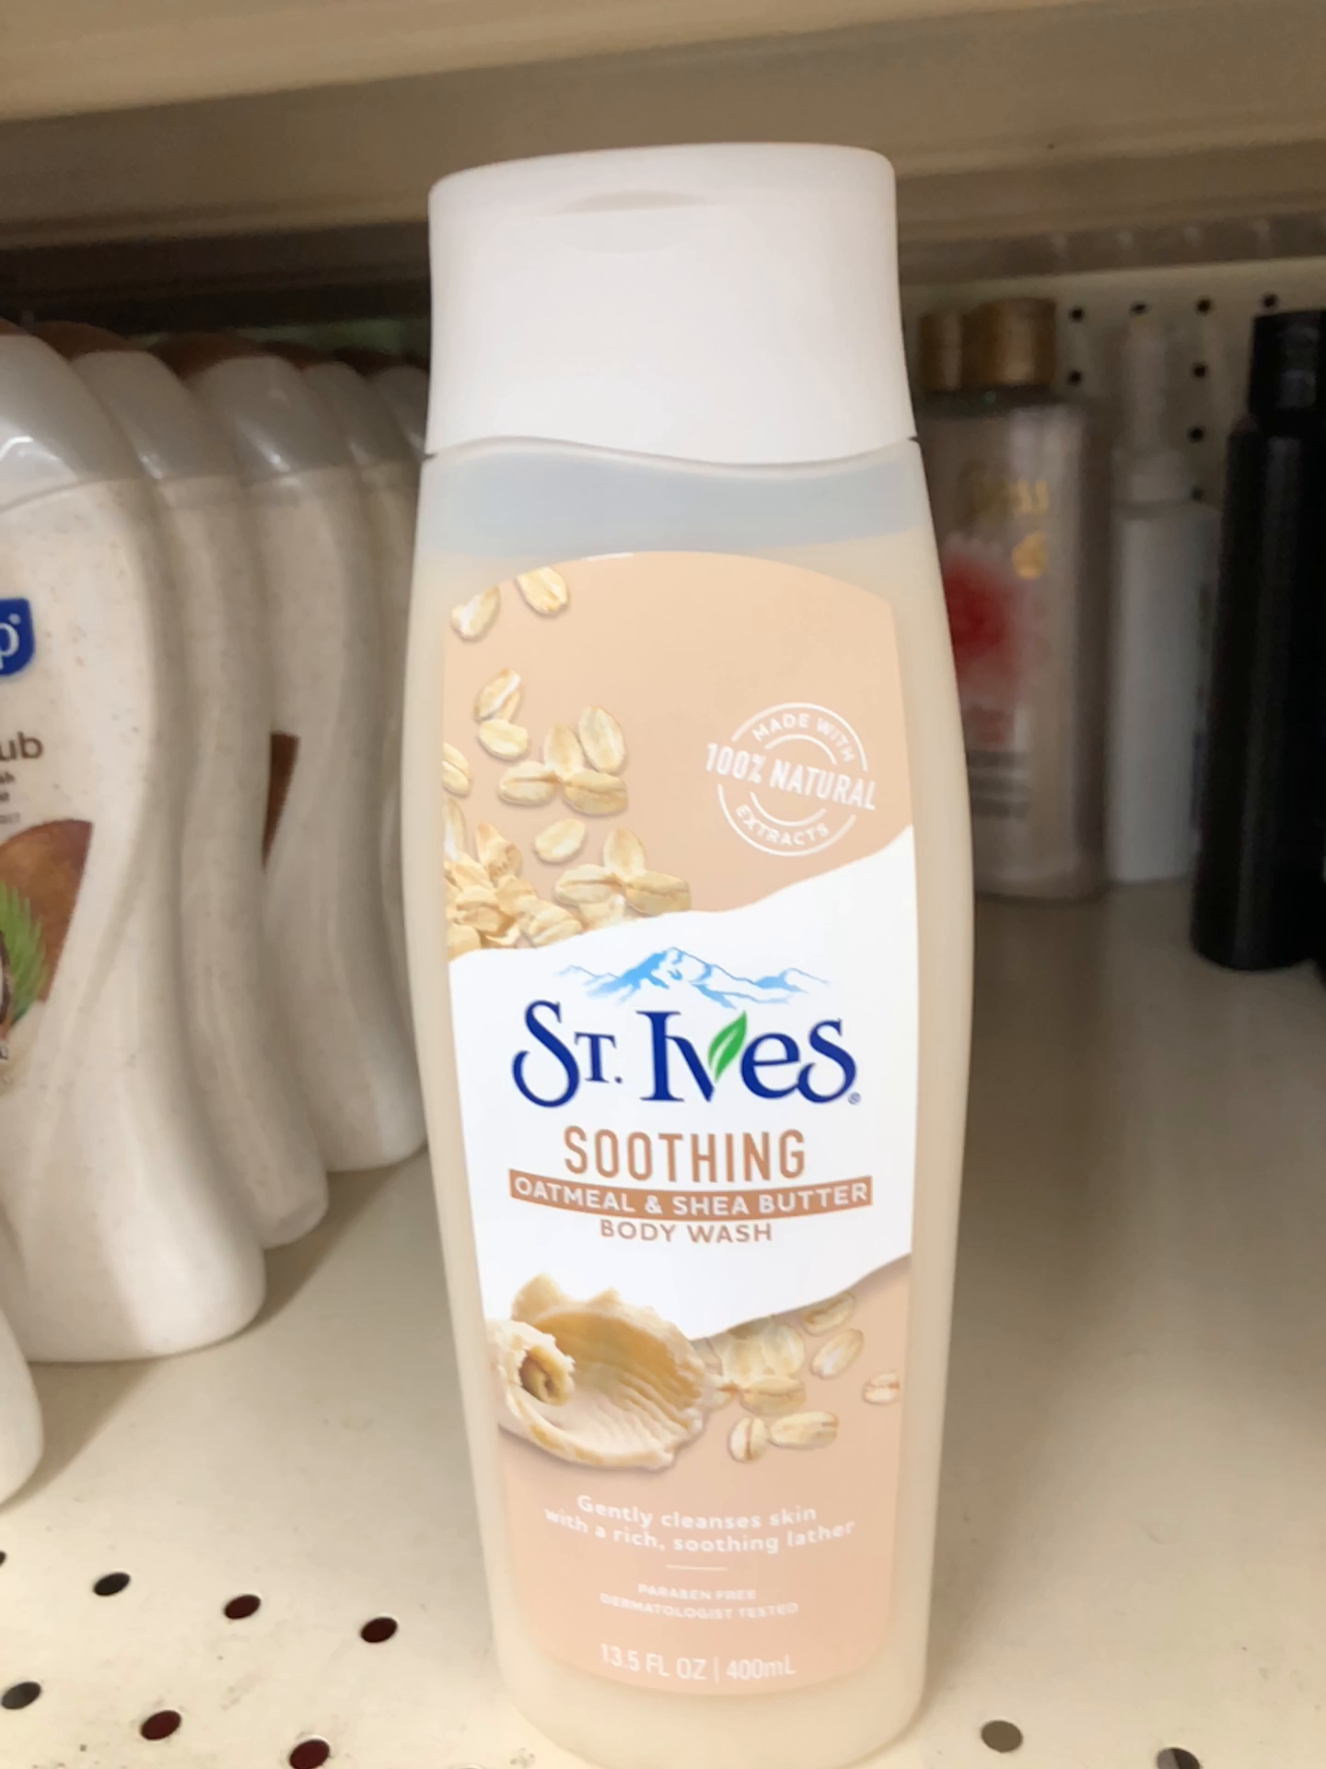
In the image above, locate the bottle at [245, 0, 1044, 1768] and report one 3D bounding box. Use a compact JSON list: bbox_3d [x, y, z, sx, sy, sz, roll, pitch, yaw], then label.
[{"bbox_3d":[0.006,0.014,0.207,0.080,0.229,0.050,0,18,9],"label":"bottle"}]
